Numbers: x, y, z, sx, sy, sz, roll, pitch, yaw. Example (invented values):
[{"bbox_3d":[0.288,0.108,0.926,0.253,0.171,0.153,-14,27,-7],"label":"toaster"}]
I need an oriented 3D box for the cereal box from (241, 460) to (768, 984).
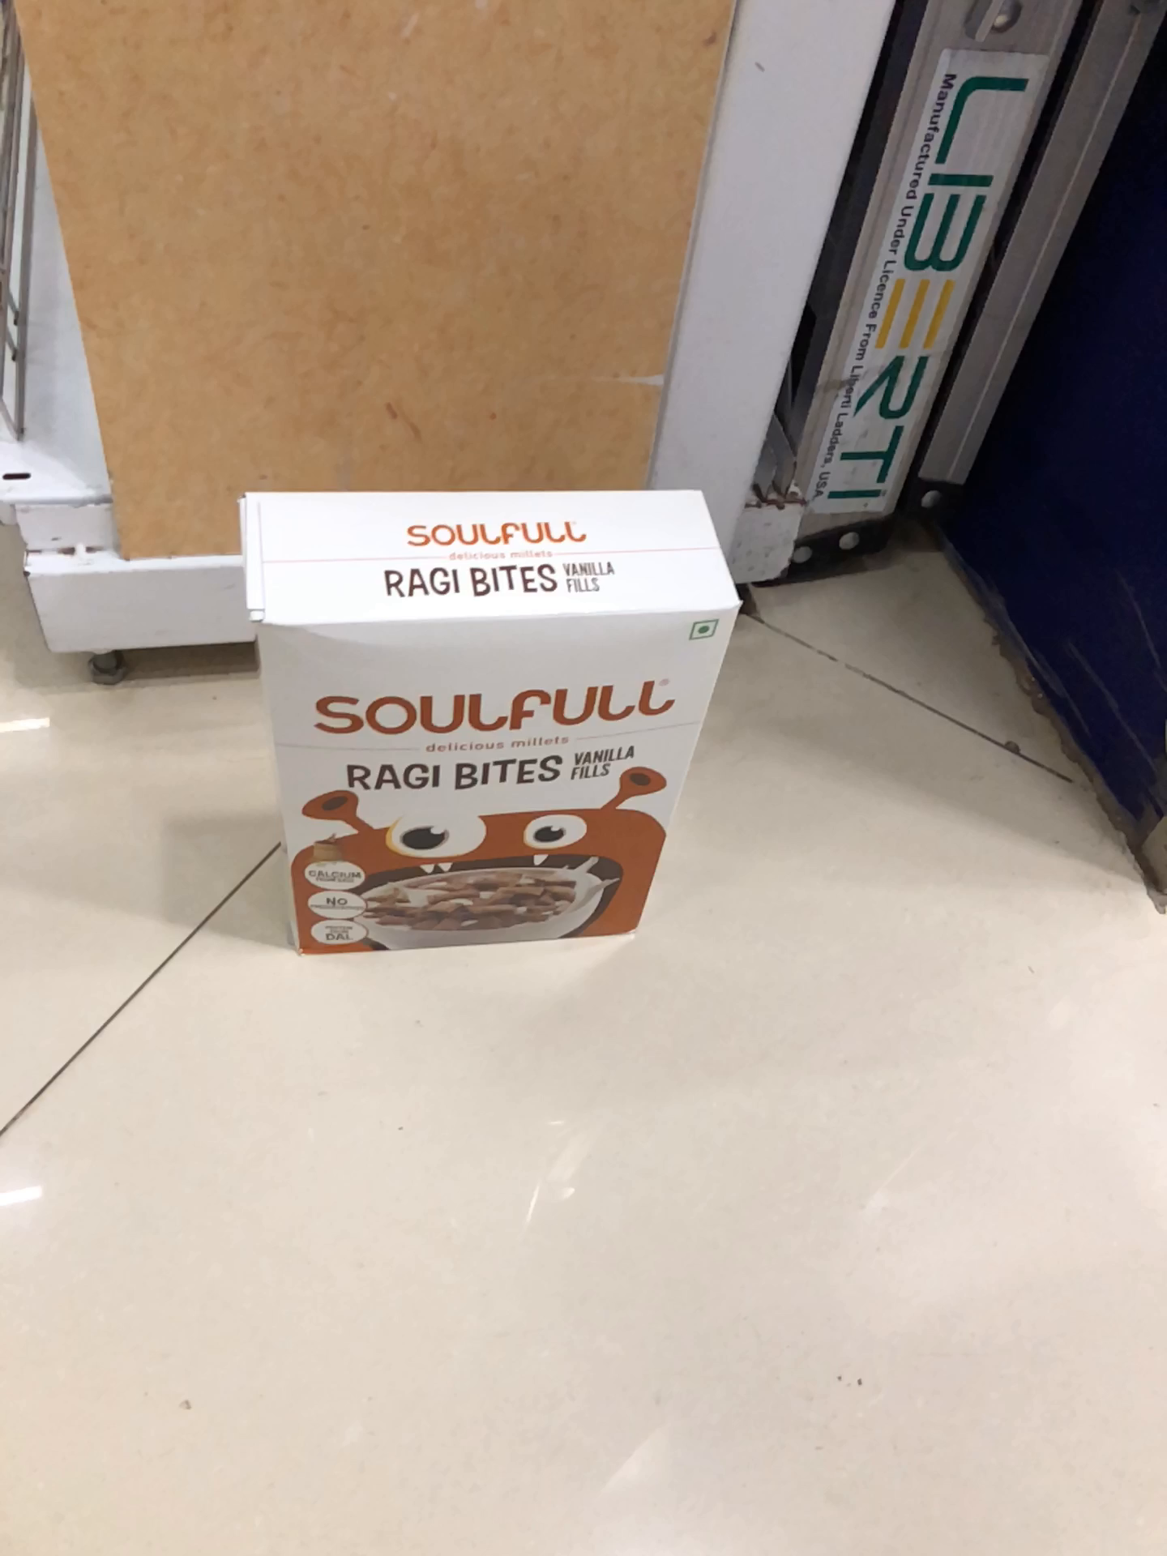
[{"bbox_3d":[-0.043,-0.010,0.532,0.170,0.249,0.070,-2,54,-11],"label":"cereal box"}]
